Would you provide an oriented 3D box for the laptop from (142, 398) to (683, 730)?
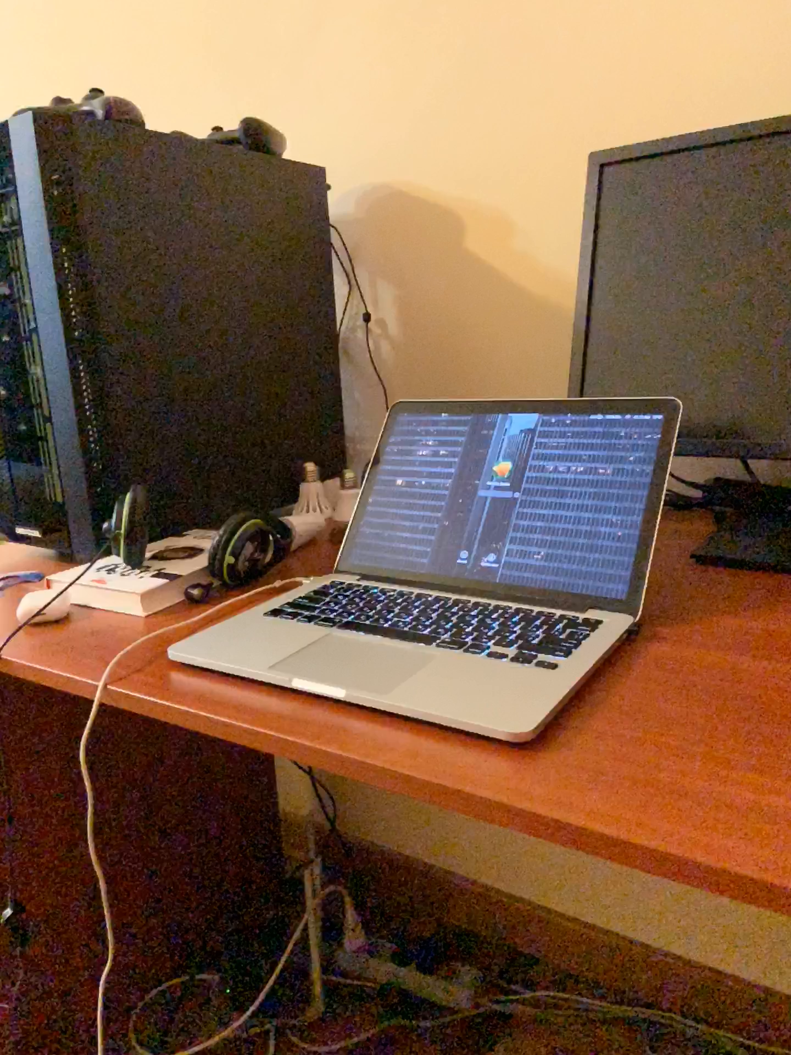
[{"bbox_3d":[0.039,-0.009,0.671,0.300,0.155,0.341,5,17,32],"label":"laptop"}]
